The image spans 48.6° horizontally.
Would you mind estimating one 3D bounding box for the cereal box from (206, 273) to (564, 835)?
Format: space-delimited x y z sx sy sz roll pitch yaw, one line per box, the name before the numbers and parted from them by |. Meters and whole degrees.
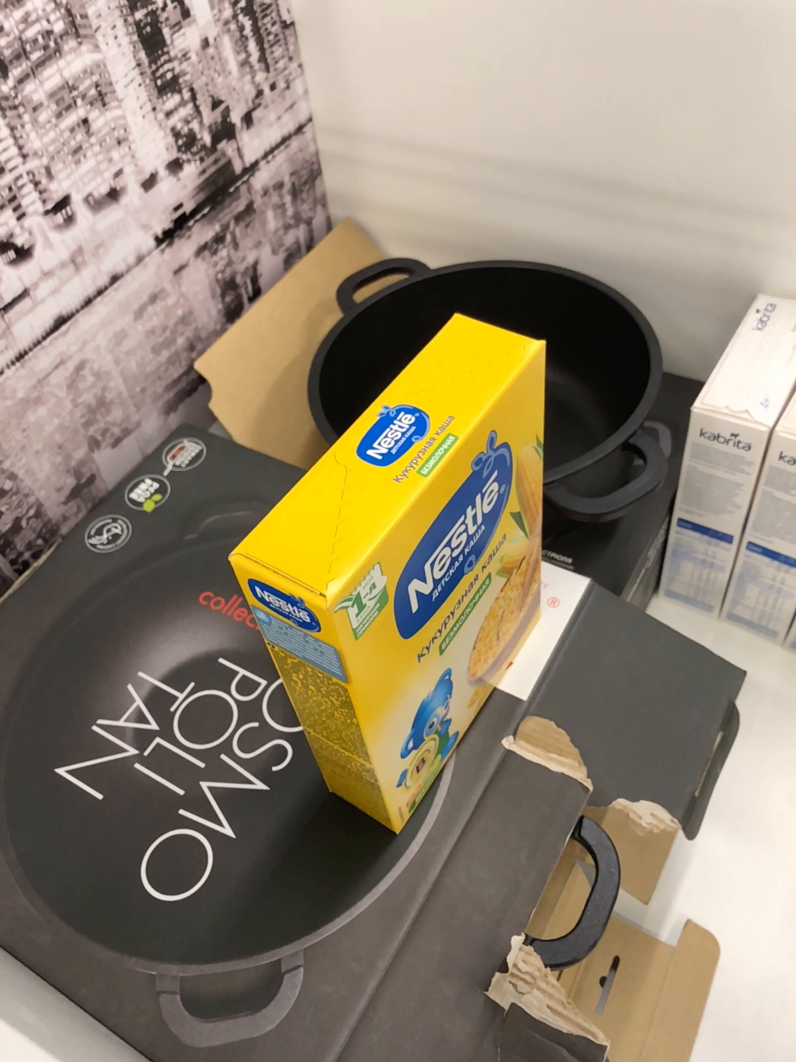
cereal box | 0.013 0.020 0.385 0.050 0.199 0.150 24 58 26
